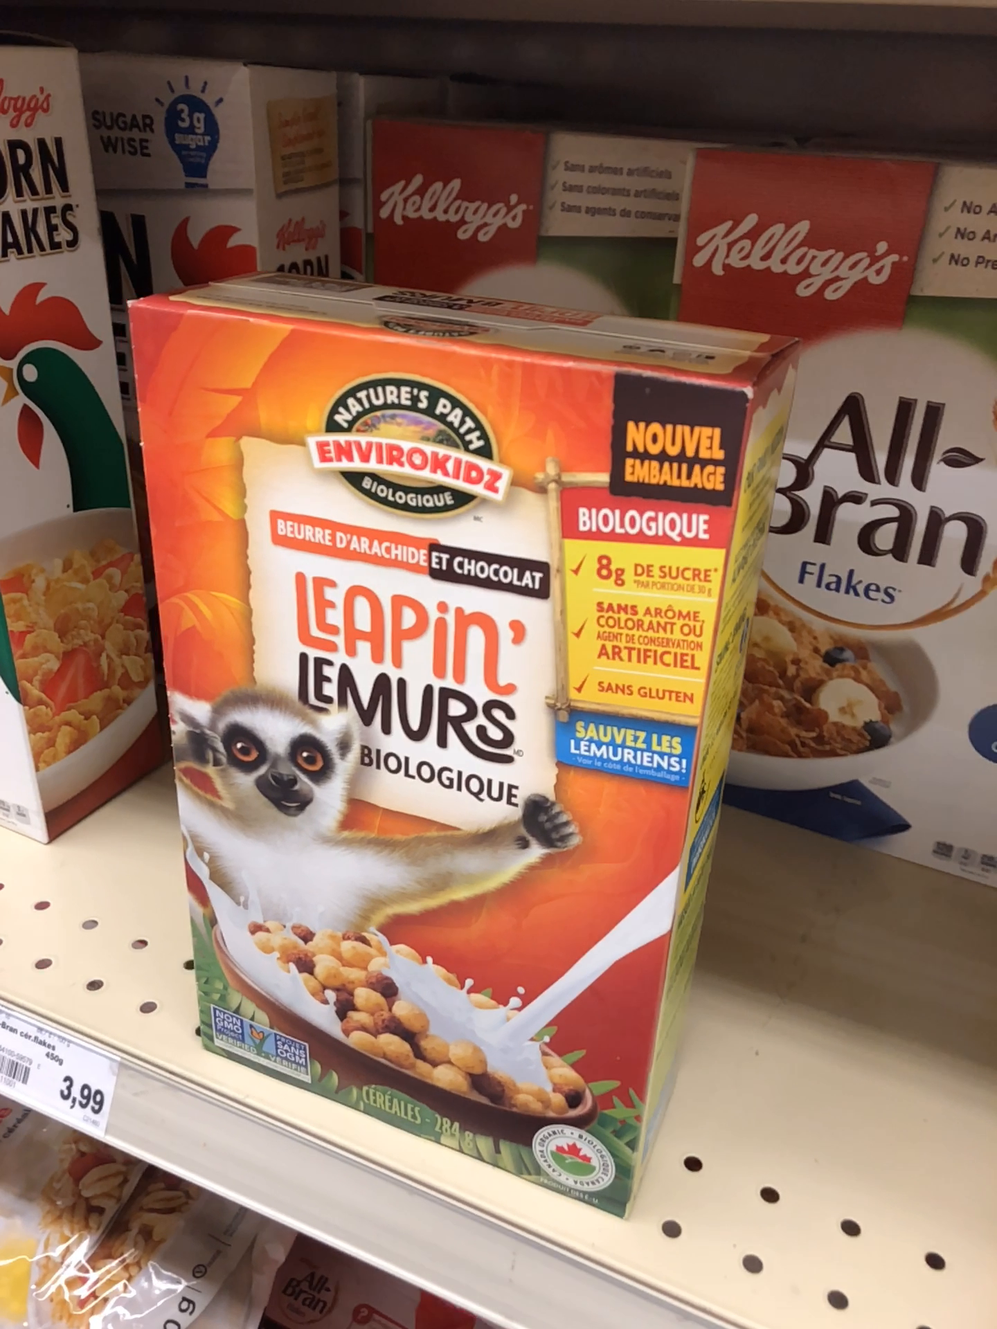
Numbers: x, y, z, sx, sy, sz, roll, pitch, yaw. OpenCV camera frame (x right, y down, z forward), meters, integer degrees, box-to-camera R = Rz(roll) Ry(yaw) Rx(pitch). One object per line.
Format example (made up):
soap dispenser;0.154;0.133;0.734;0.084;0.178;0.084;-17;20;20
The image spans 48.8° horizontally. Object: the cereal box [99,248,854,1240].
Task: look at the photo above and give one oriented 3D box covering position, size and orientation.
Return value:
cereal box;-0.010;0.025;0.327;0.170;0.258;0.070;13;29;20
